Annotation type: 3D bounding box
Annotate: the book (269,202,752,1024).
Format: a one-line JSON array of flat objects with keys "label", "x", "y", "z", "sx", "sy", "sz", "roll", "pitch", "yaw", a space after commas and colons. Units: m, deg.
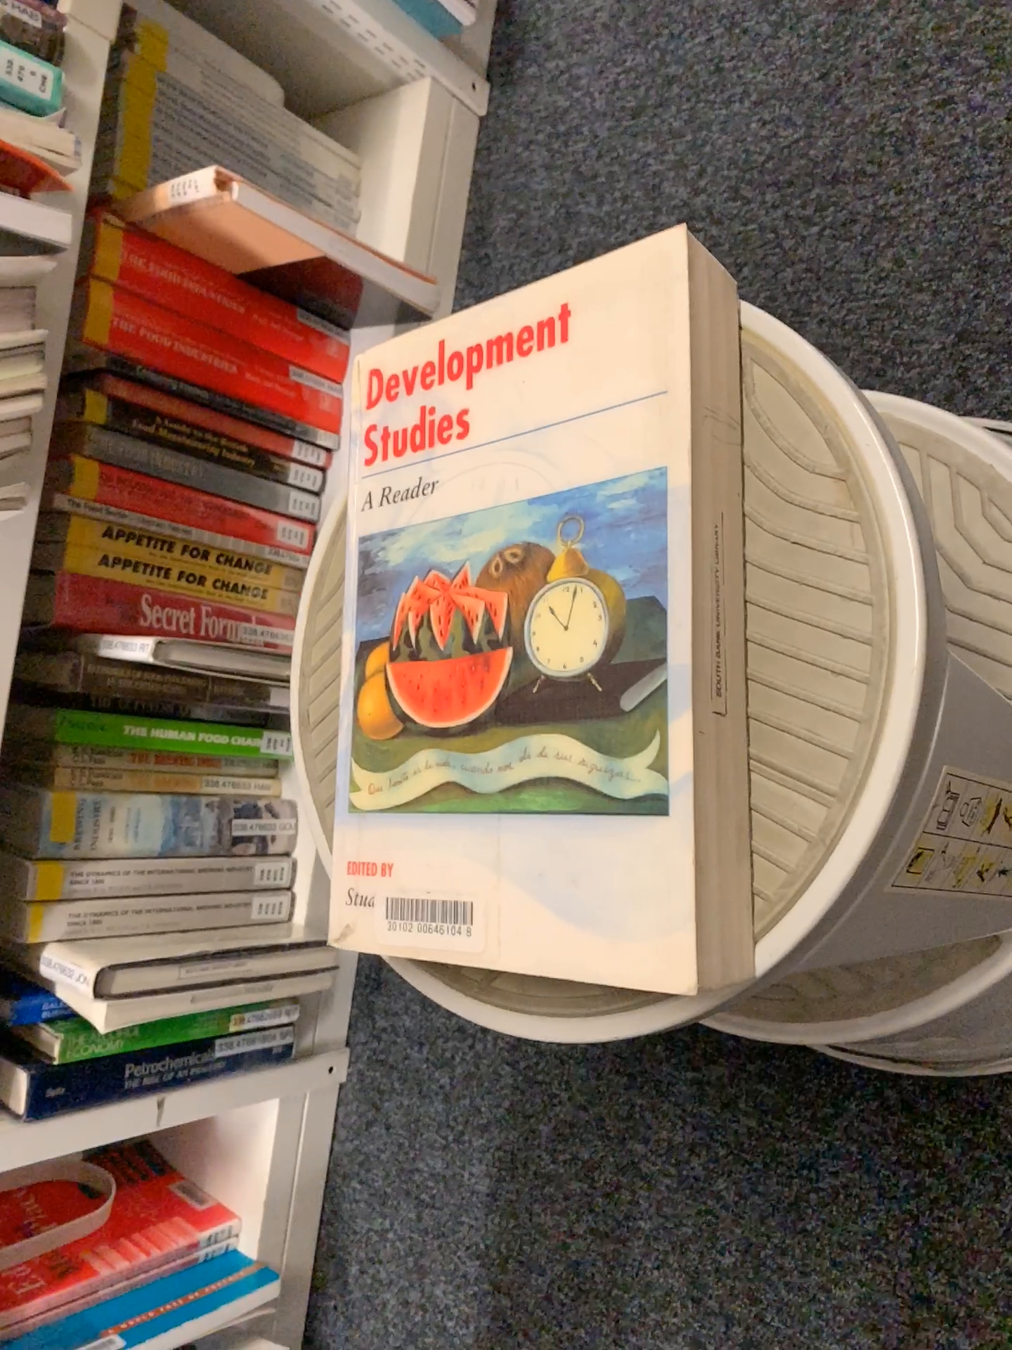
[{"label": "book", "x": -0.005, "y": -0.015, "z": 0.346, "sx": 0.160, "sy": 0.045, "sz": 0.224, "roll": -5, "pitch": 80, "yaw": 38}]
